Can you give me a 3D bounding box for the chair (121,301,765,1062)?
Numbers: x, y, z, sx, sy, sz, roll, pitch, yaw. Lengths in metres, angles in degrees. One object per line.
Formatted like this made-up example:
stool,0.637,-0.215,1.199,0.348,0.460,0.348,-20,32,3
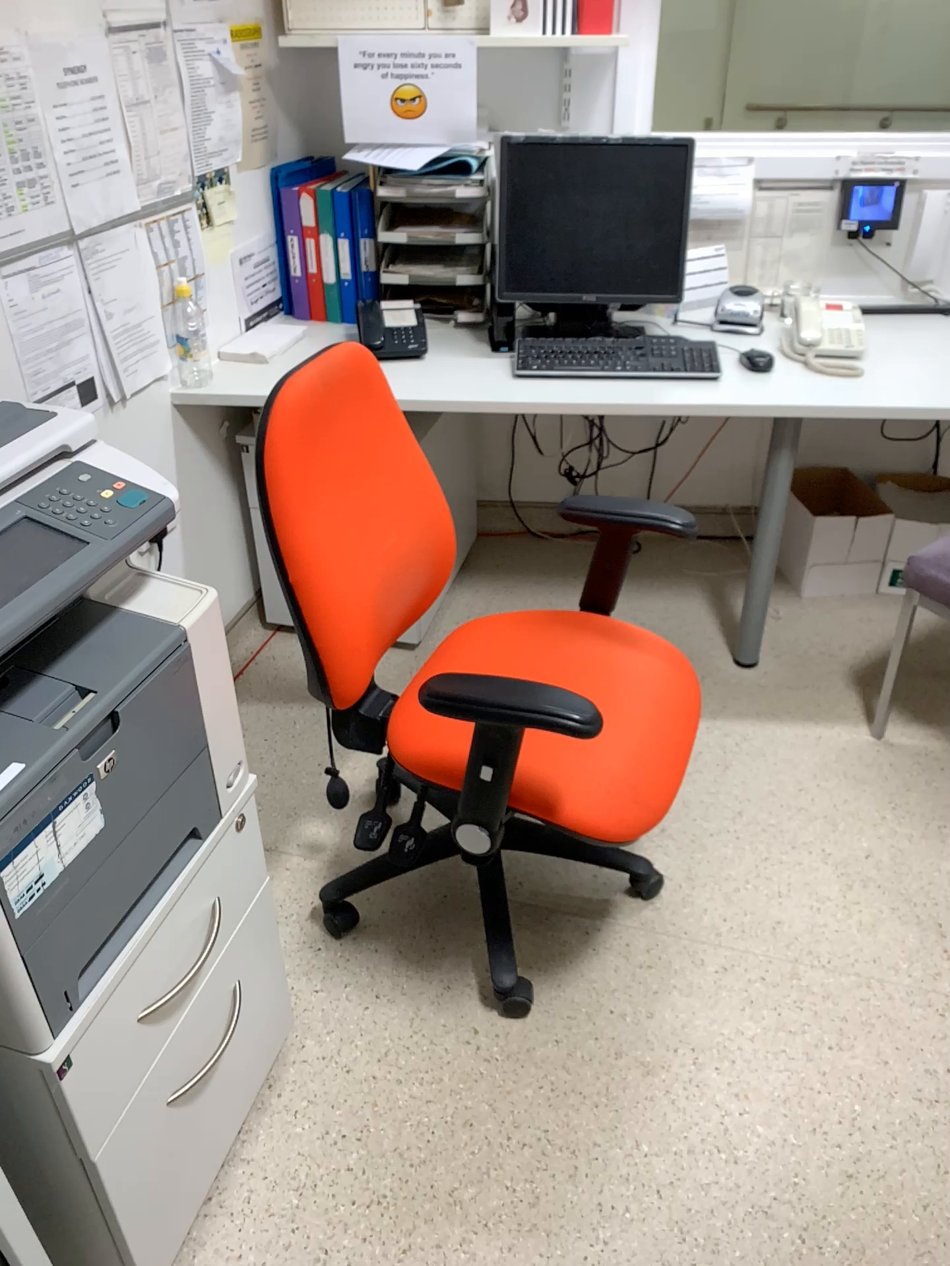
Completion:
chair,0.005,0.030,1.582,0.685,0.893,0.656,12,35,19
